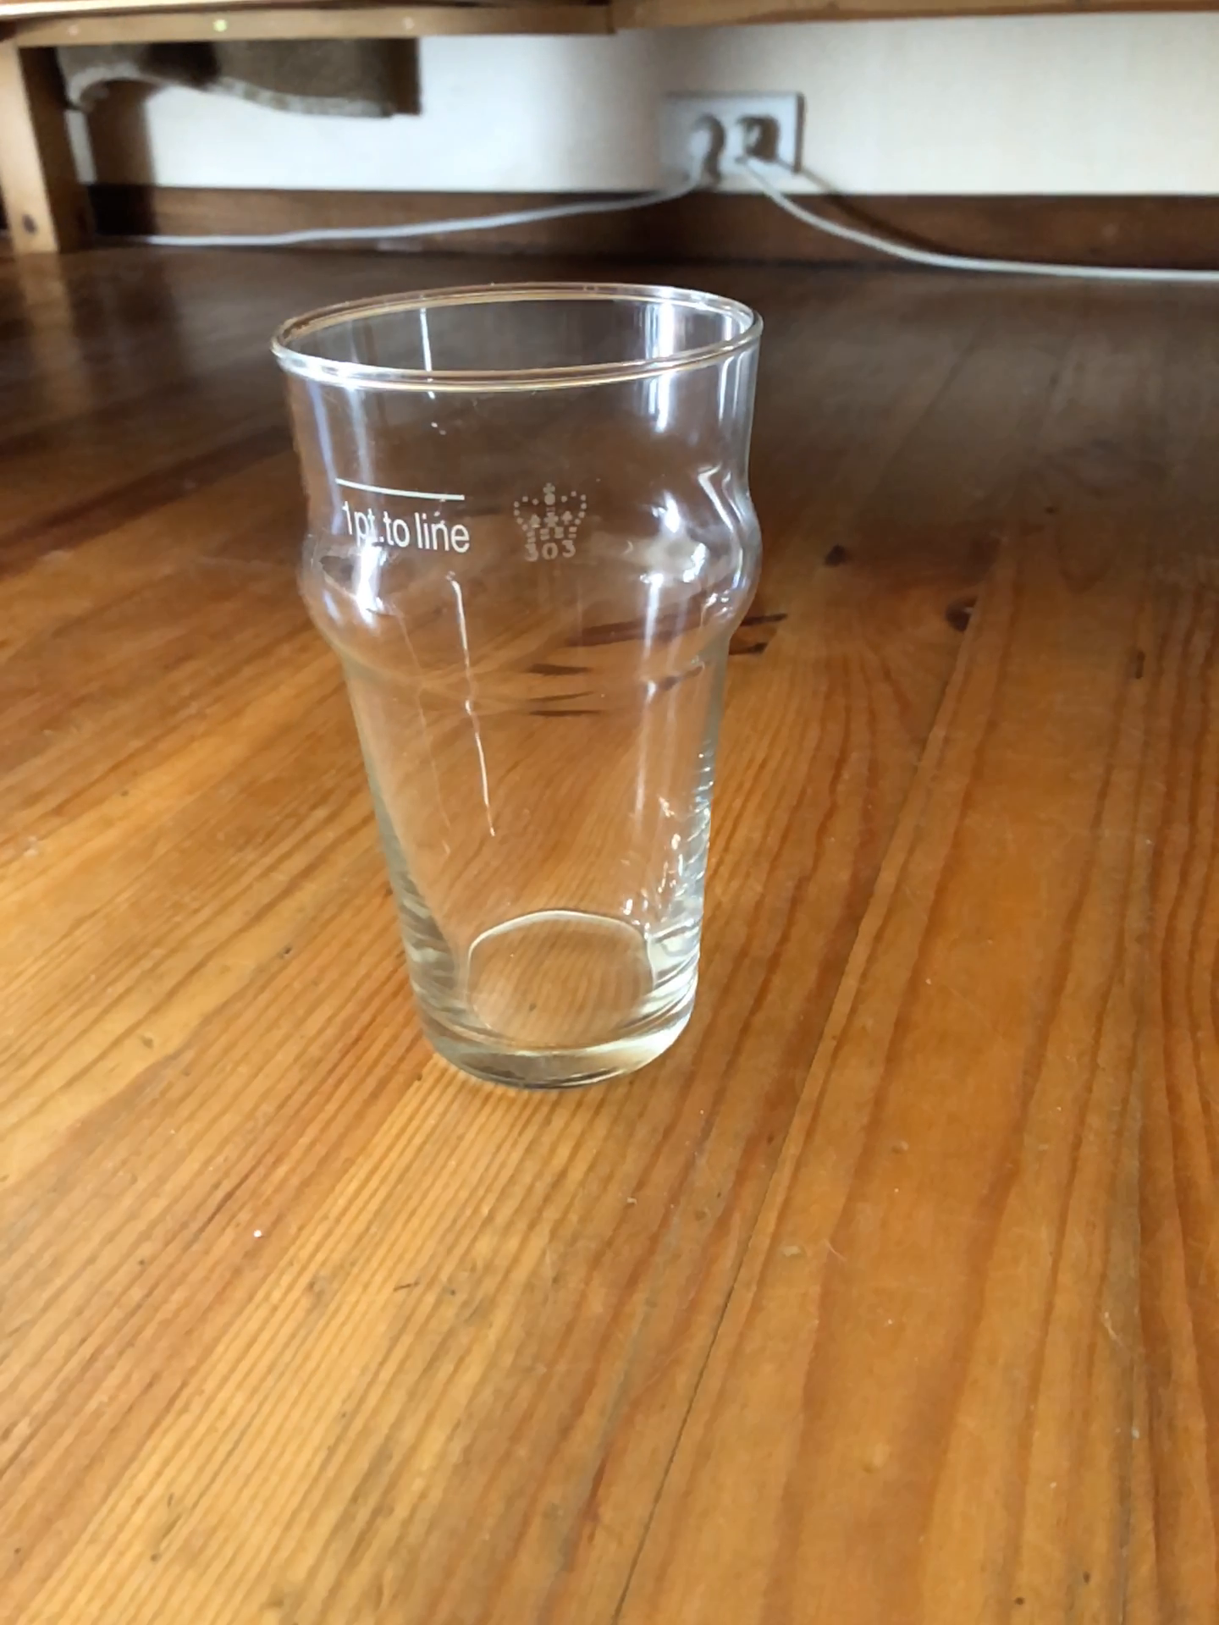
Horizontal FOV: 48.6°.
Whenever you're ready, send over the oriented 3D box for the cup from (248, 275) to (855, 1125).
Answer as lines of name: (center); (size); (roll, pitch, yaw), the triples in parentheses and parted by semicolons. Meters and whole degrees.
cup: (-0.002, -0.026, 0.291); (0.094, 0.151, 0.092); (-2, 32, 1)
